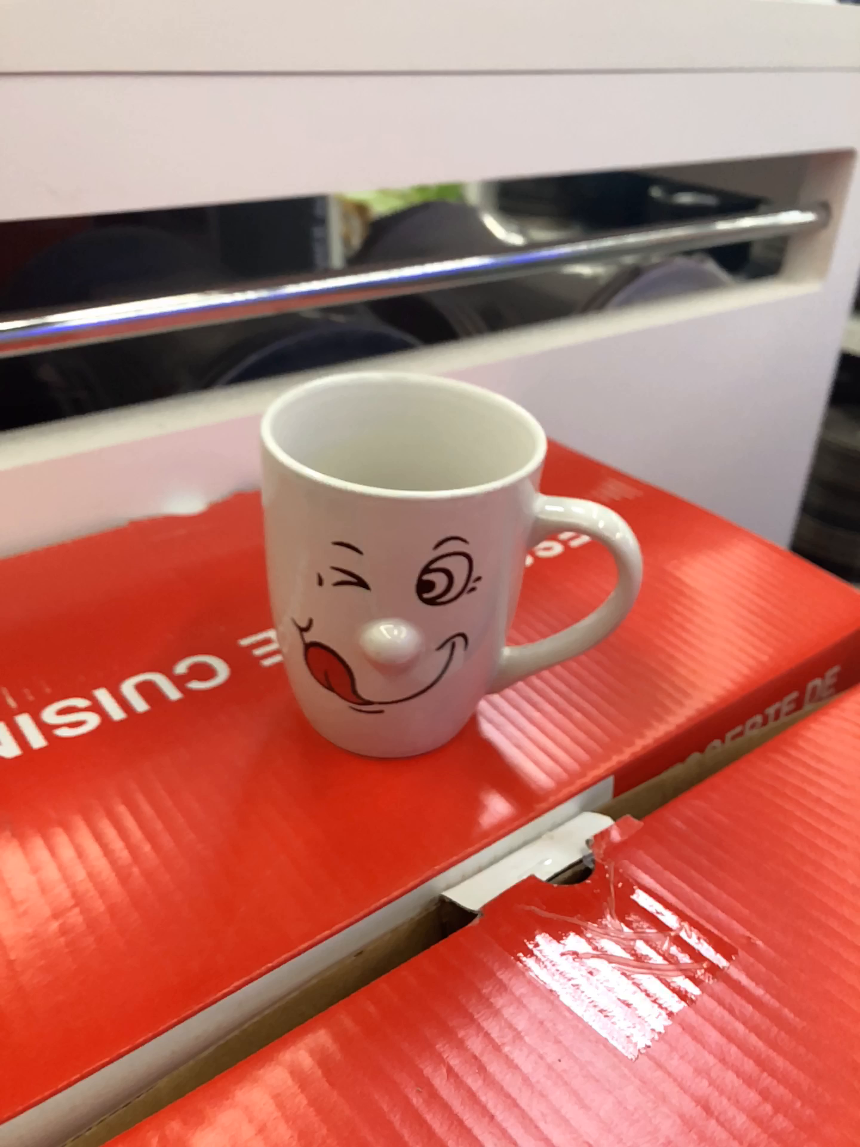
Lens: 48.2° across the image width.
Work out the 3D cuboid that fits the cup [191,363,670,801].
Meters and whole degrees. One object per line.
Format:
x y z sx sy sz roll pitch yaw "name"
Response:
0.004 -0.003 0.307 0.123 0.092 0.093 7 30 6 "cup"
